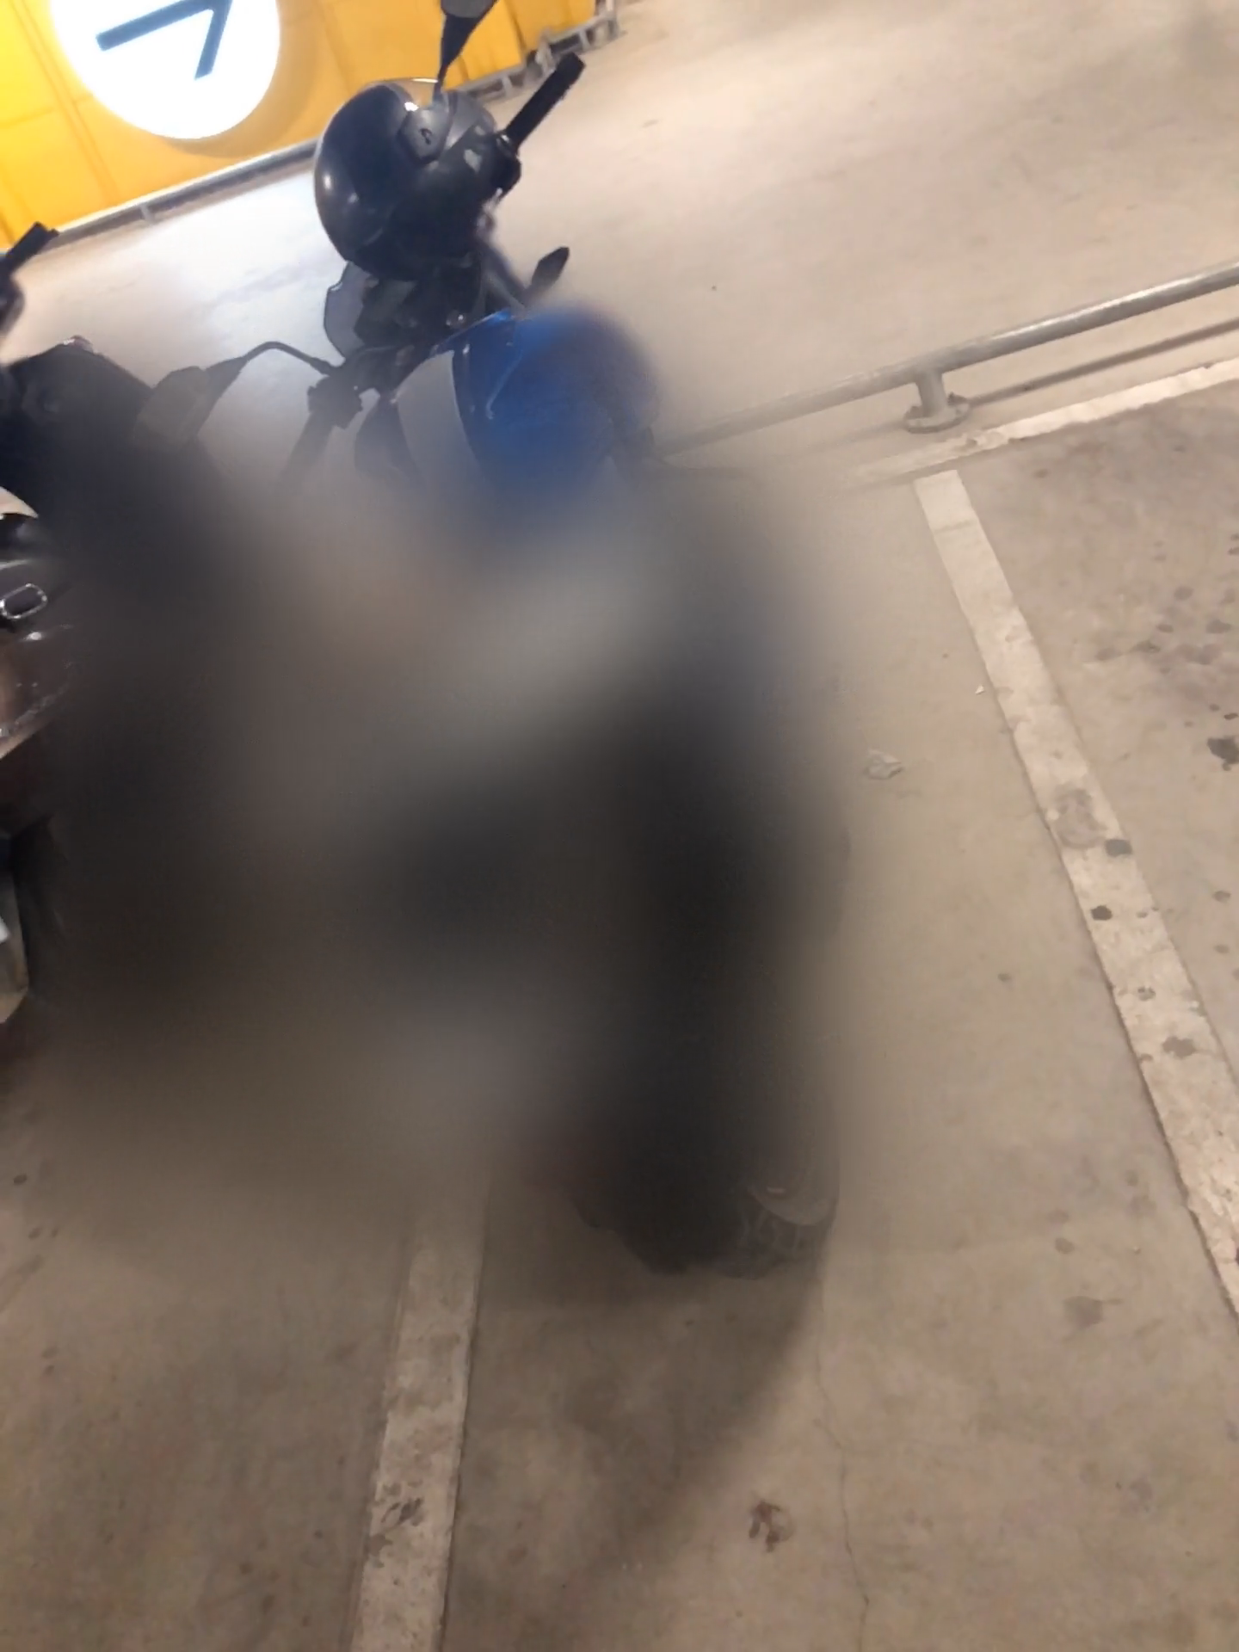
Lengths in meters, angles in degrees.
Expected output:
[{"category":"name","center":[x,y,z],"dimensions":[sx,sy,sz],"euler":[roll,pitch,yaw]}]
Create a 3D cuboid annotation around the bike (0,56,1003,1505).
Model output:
[{"category":"bike","center":[-0.226,-0.297,2.036],"dimensions":[0.806,1.162,1.996],"euler":[-17,35,6]}]
